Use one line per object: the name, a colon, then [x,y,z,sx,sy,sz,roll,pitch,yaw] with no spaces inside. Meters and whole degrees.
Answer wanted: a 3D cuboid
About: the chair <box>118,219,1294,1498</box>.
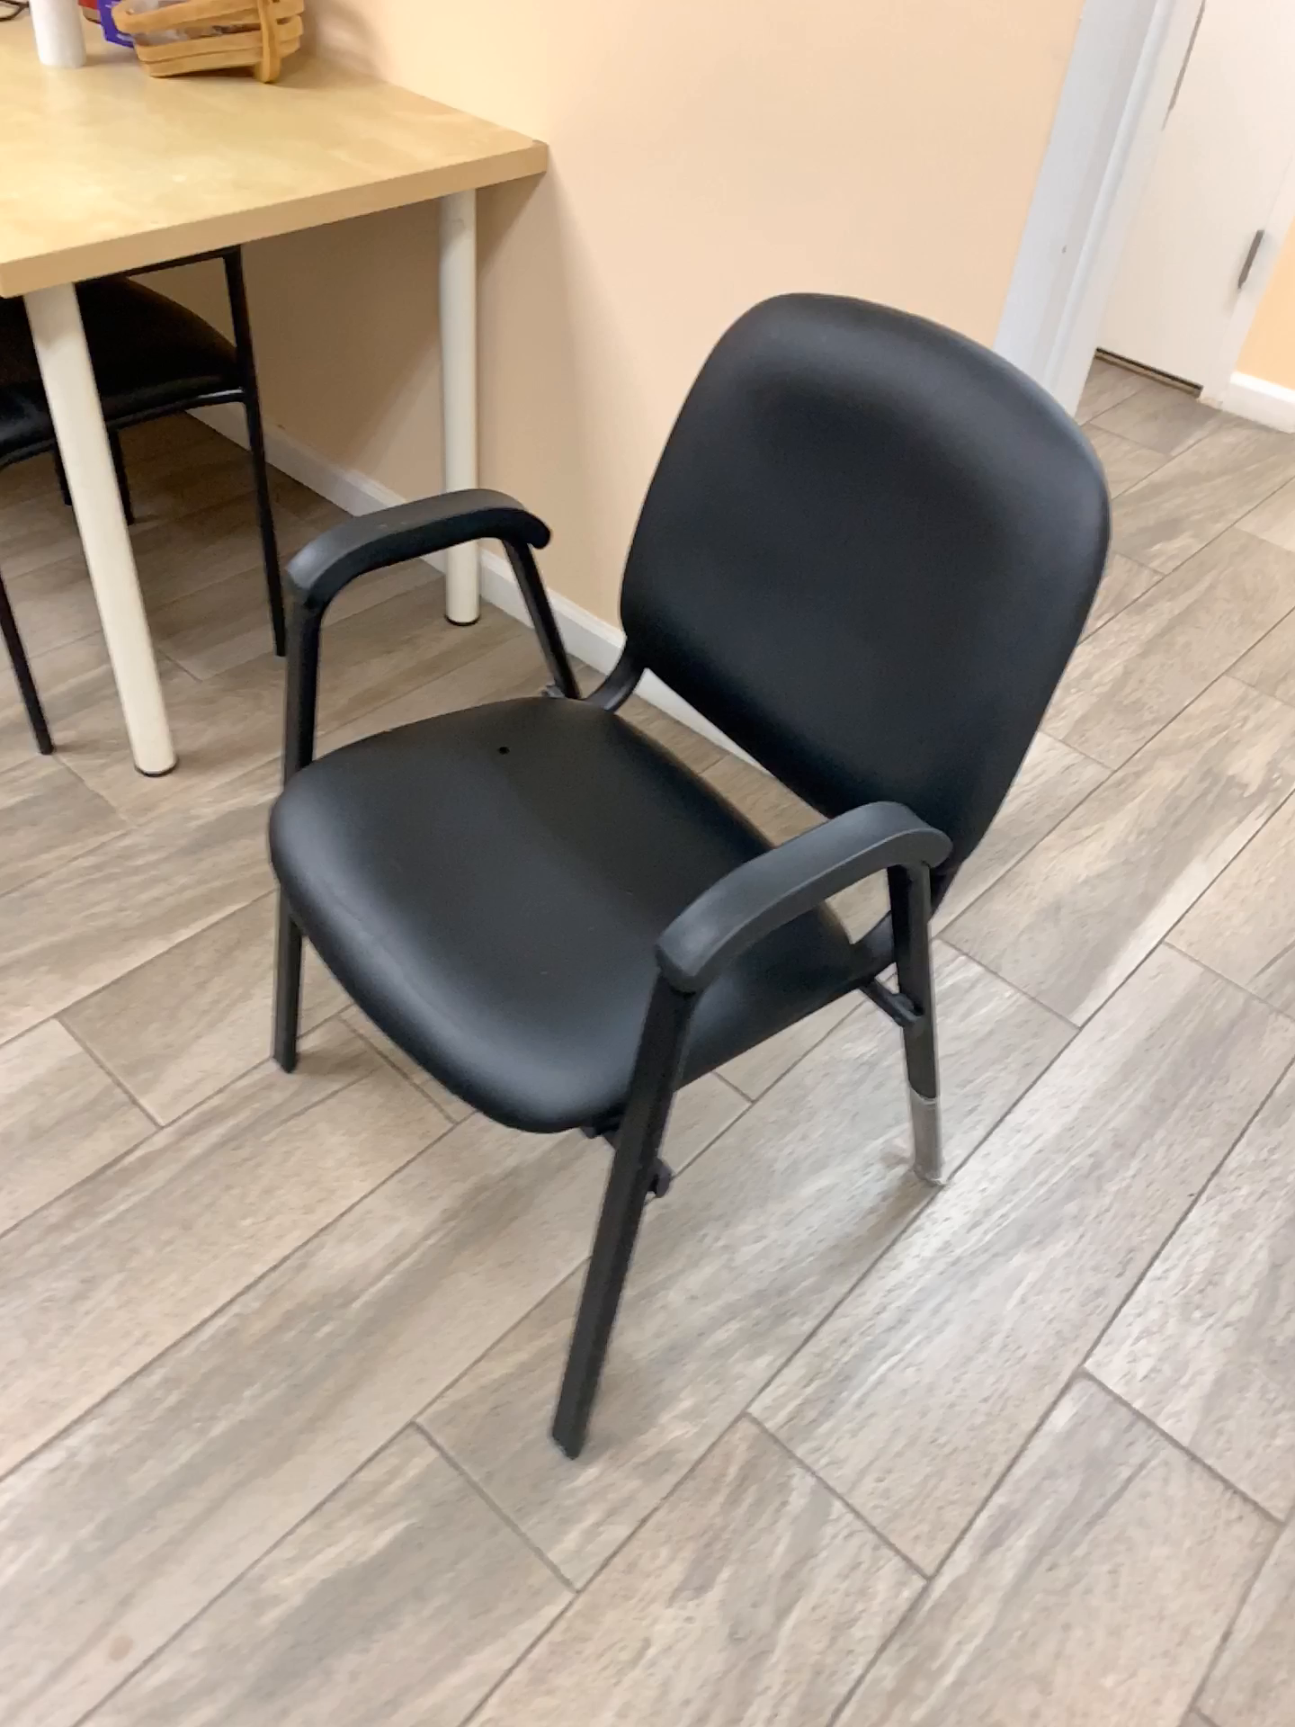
chair: [0.010,-0.021,1.203,0.607,0.817,0.607,-25,52,-29]
